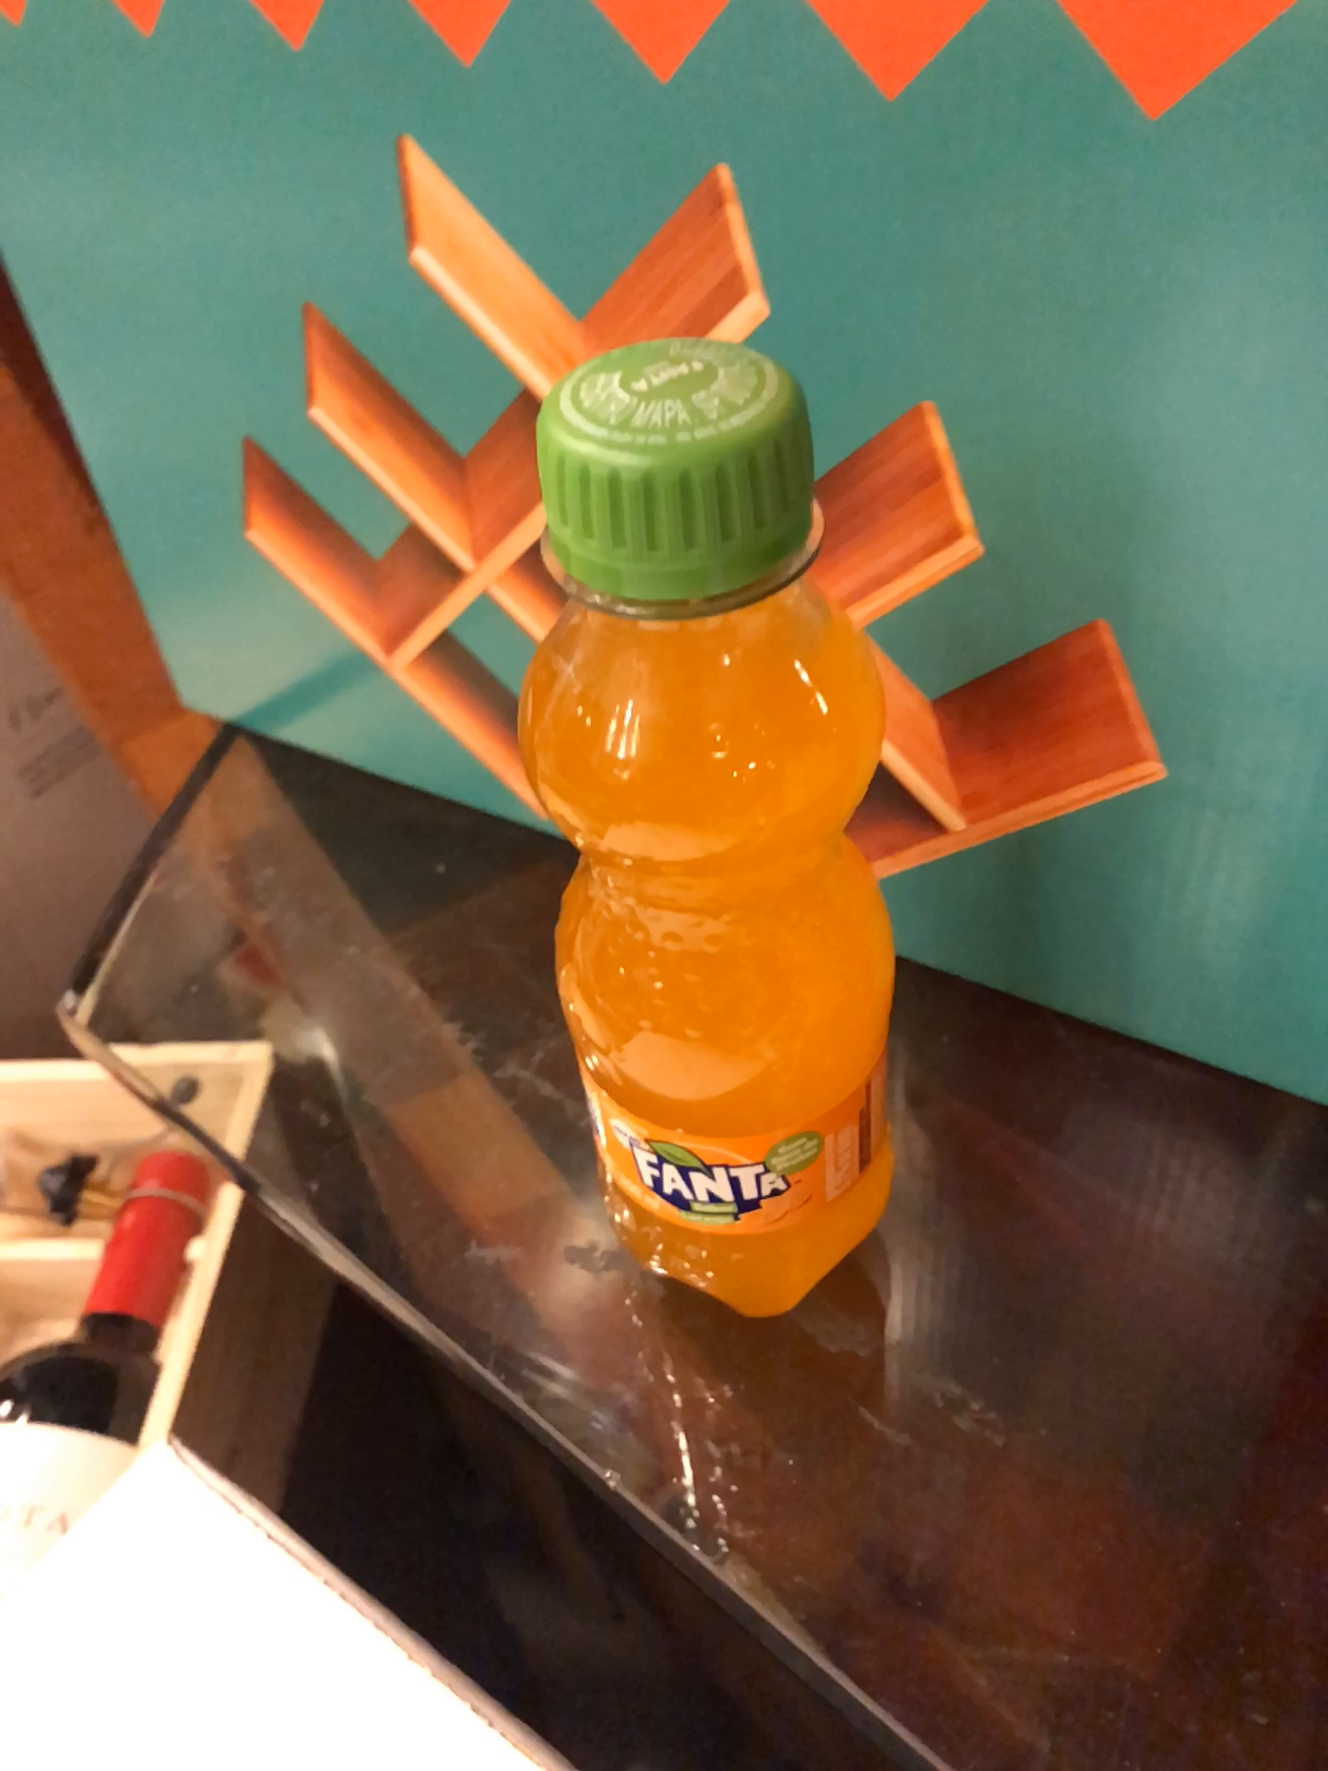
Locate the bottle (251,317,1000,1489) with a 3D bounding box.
[{"bbox_3d":[0.007,0.013,0.208,0.060,0.159,0.060,-5,44,4],"label":"bottle"}]
